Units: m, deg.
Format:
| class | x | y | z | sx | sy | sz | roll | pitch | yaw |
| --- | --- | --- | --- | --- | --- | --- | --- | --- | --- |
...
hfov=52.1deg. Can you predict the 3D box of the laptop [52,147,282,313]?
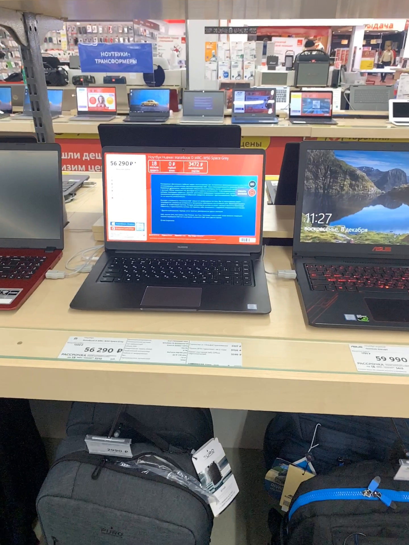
| class | x | y | z | sx | sy | sz | roll | pitch | yaw |
| --- | --- | --- | --- | --- | --- | --- | --- | --- | --- |
| laptop | -0.051 | -0.101 | 0.809 | 0.348 | 0.209 | 0.304 | 2 | 28 | 3 |
